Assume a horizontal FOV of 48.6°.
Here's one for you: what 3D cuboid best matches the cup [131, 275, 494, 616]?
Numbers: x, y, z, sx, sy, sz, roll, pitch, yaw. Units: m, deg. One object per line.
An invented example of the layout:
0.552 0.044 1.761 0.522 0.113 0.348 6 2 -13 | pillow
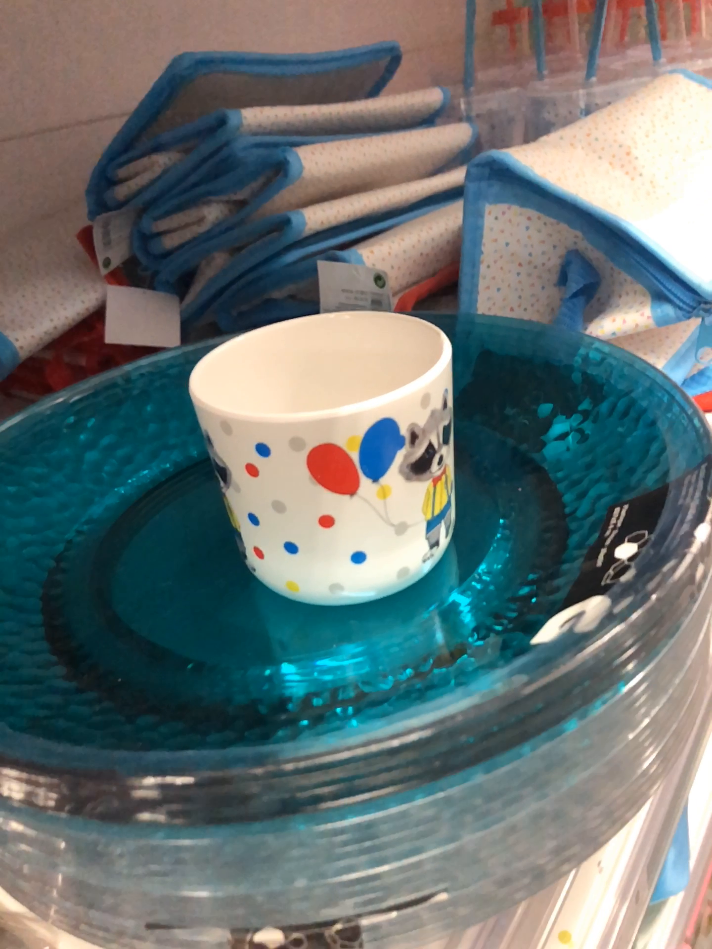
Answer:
-0.003 -0.016 0.253 0.080 0.059 0.110 0 31 15 | cup
